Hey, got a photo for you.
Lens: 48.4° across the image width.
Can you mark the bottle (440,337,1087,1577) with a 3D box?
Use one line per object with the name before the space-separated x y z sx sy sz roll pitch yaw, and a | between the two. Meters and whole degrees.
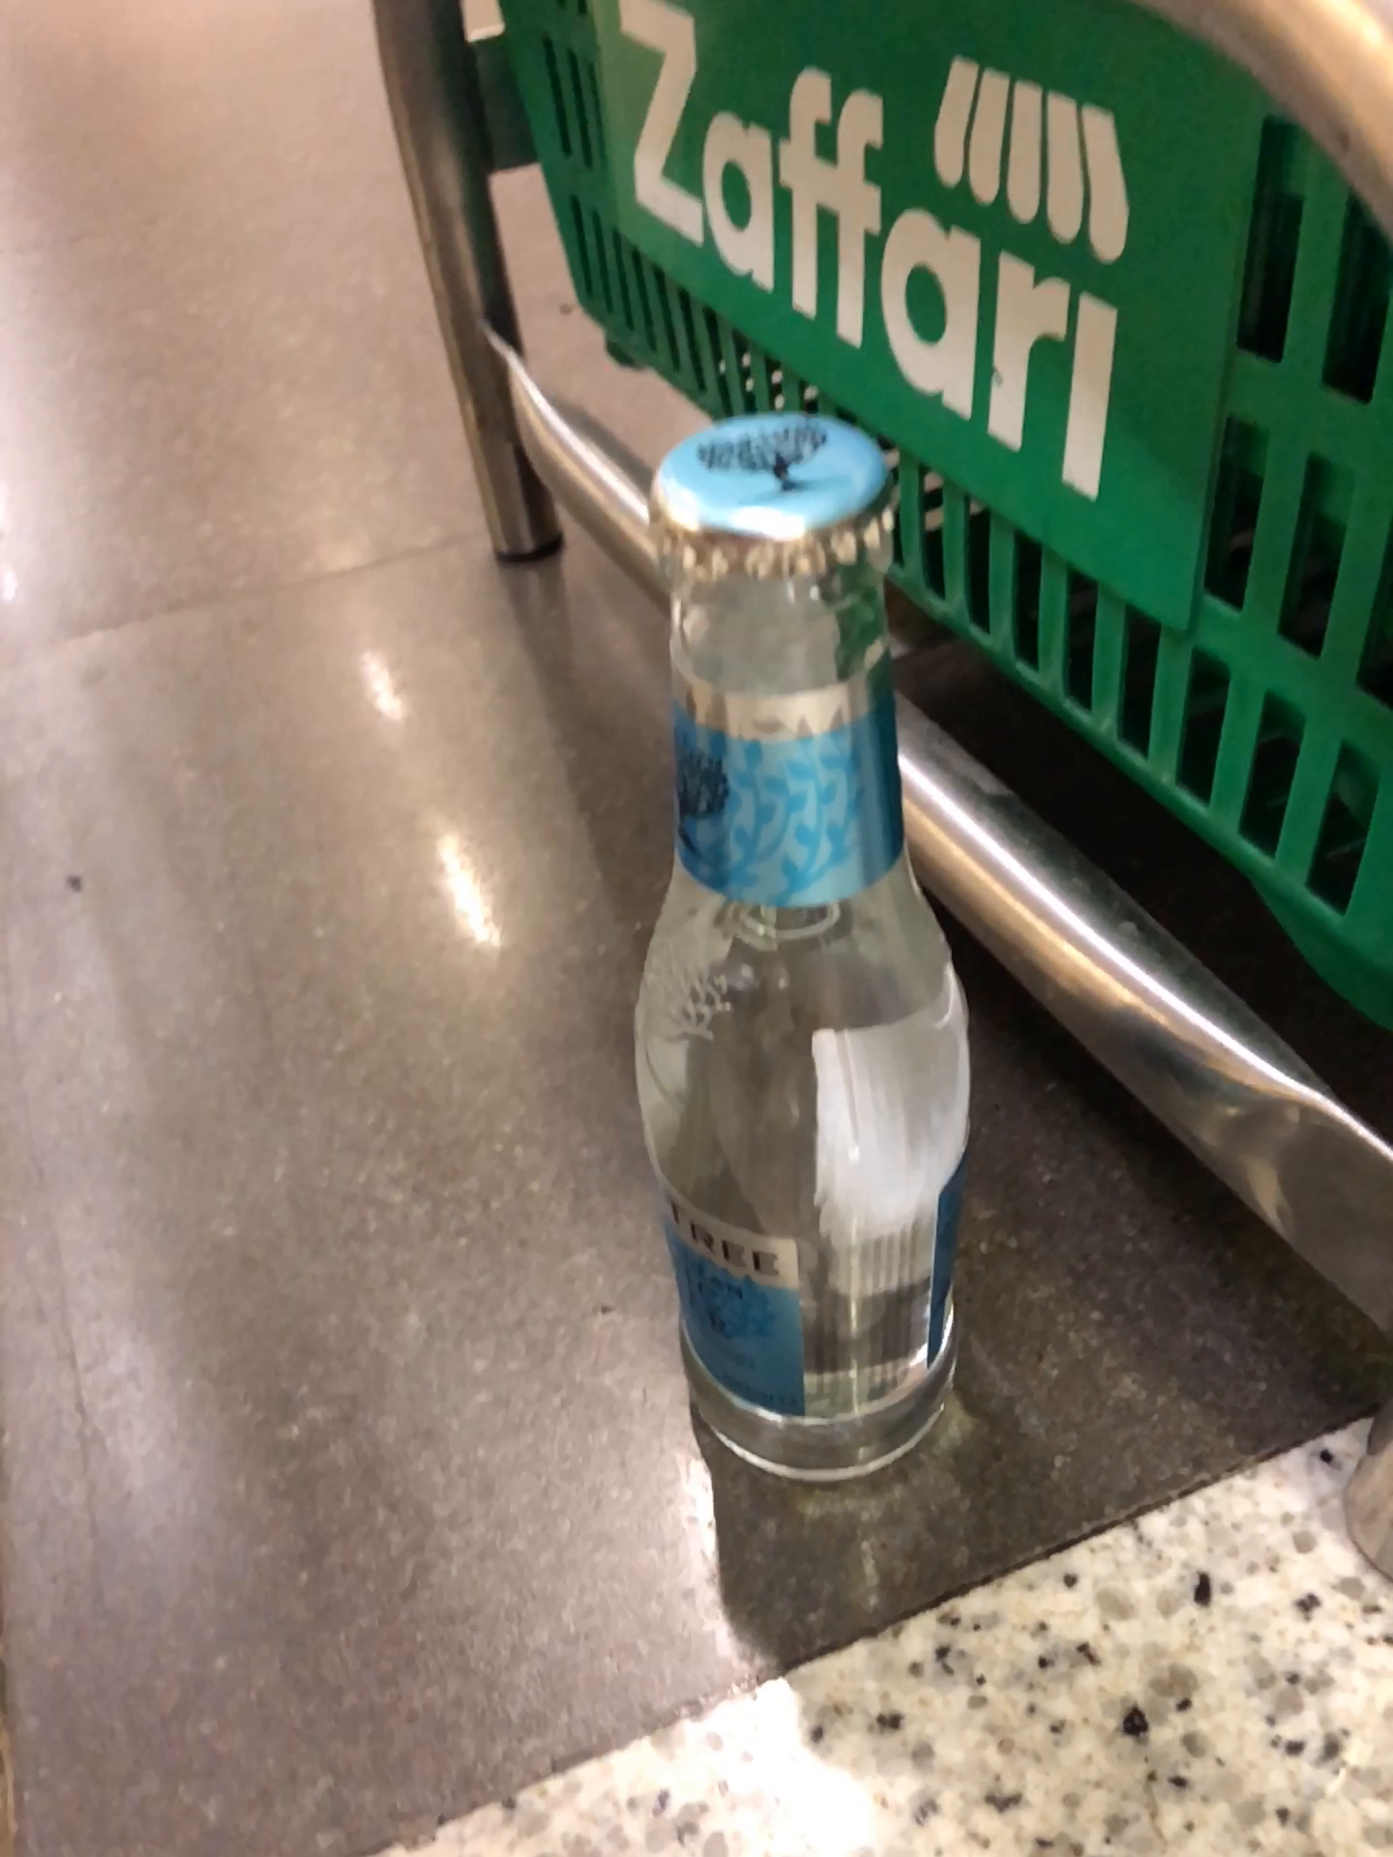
bottle | 0.014 0.019 0.236 0.050 0.188 0.060 -21 45 -14
